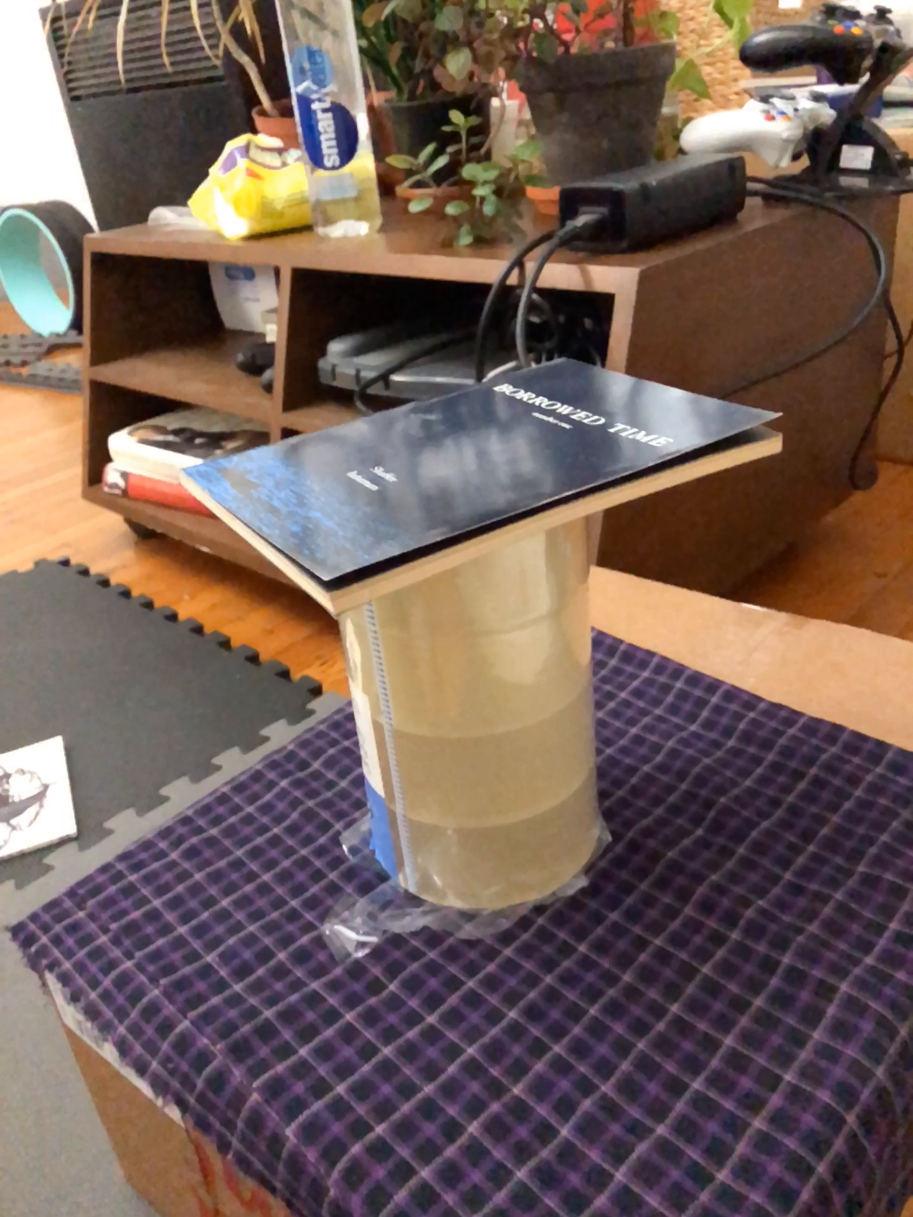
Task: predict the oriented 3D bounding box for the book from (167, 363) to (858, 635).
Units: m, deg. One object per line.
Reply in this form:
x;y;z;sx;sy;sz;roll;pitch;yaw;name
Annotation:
0.020;-0.060;0.411;0.230;0.010;0.161;-20;31;-27;book
